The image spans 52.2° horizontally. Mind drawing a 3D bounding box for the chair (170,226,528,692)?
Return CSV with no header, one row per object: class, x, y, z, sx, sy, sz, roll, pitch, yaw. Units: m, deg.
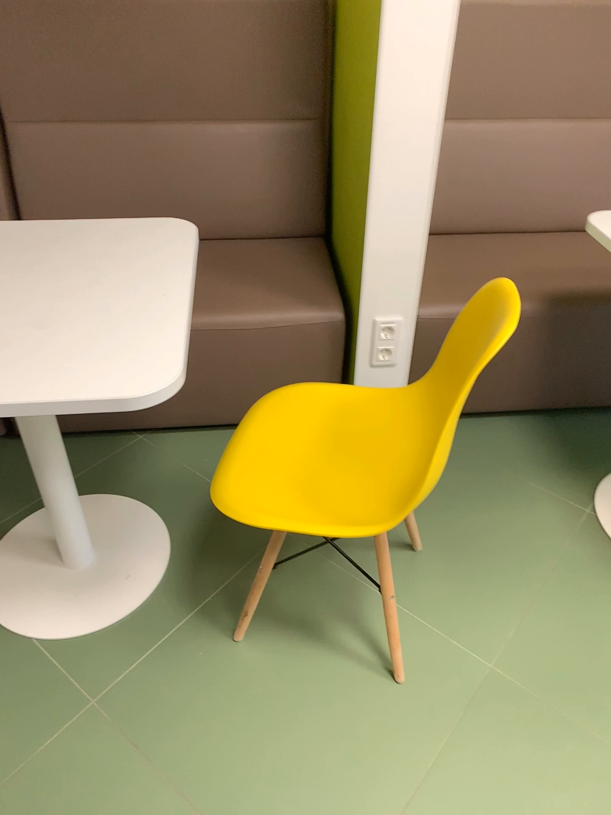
chair,0.087,0.121,1.297,0.520,0.815,0.412,9,37,10
